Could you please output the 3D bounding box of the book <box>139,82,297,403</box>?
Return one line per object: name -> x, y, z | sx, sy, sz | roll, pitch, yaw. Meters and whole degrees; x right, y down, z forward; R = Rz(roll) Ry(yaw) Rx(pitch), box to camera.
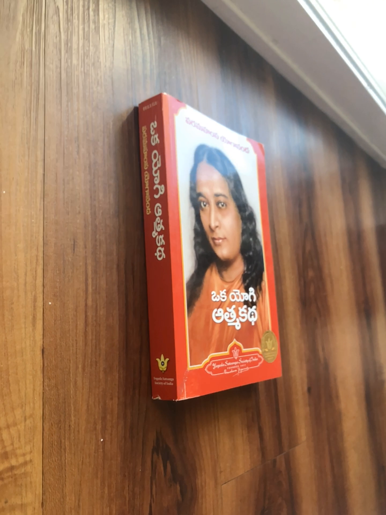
book -> 0.025, -0.007, 0.347 | 0.149, 0.030, 0.214 | 8, 75, -48
